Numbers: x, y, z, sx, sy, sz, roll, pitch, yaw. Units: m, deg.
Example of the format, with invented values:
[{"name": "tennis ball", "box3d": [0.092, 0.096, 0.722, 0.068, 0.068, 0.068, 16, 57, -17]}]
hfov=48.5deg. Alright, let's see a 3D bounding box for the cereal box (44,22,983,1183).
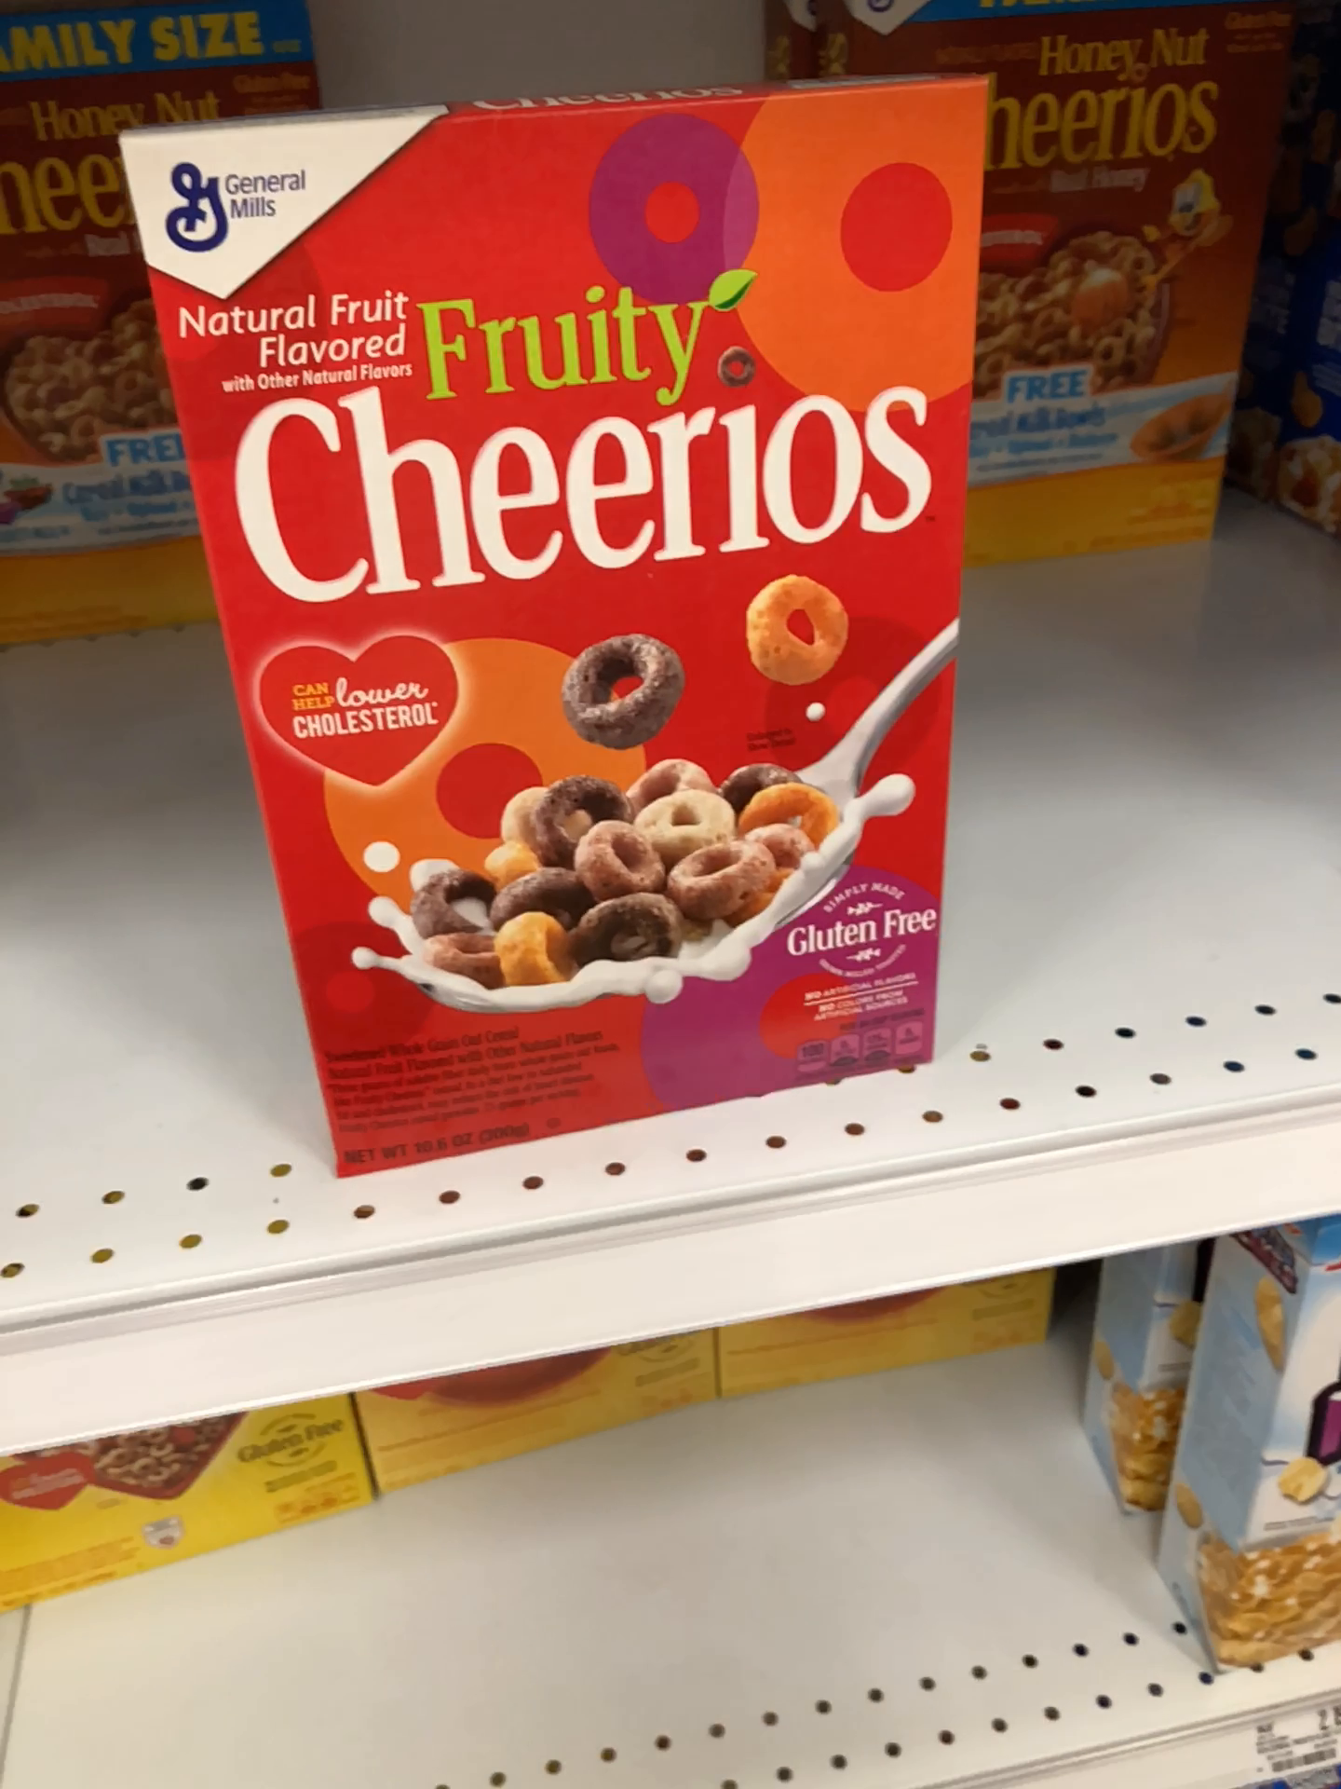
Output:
[{"name": "cereal box", "box3d": [-0.026, -0.068, 0.415, 0.200, 0.289, 0.060, -10, 32, -9]}]
